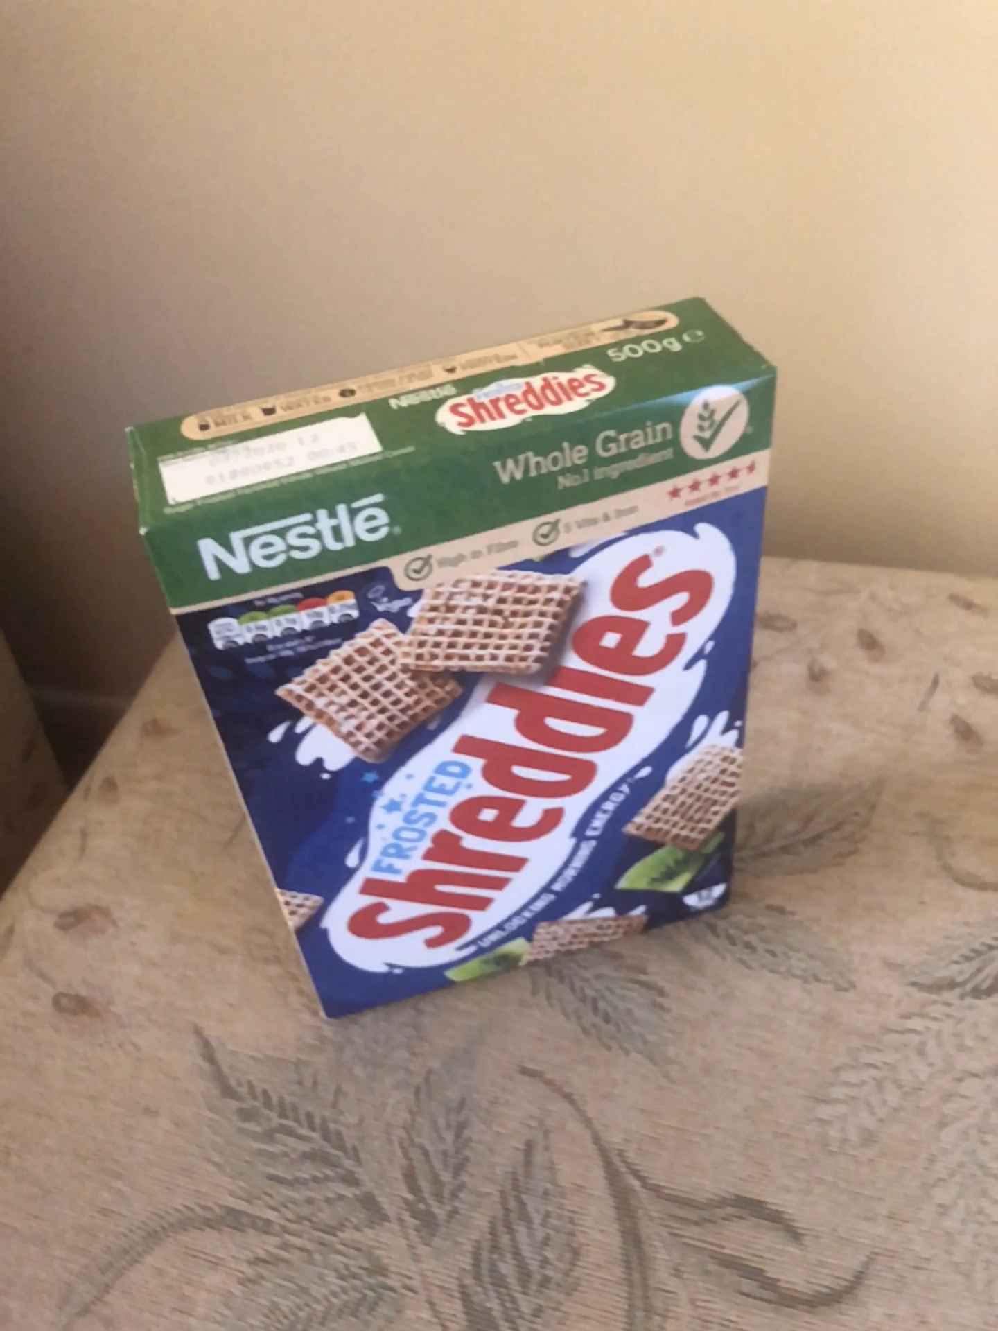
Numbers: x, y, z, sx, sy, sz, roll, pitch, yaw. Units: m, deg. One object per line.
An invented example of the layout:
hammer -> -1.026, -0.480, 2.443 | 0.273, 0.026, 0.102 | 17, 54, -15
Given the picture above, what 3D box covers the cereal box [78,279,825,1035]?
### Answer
cereal box -> -0.006, 0.016, 0.400 | 0.200, 0.258, 0.060 | -14, 45, -8
